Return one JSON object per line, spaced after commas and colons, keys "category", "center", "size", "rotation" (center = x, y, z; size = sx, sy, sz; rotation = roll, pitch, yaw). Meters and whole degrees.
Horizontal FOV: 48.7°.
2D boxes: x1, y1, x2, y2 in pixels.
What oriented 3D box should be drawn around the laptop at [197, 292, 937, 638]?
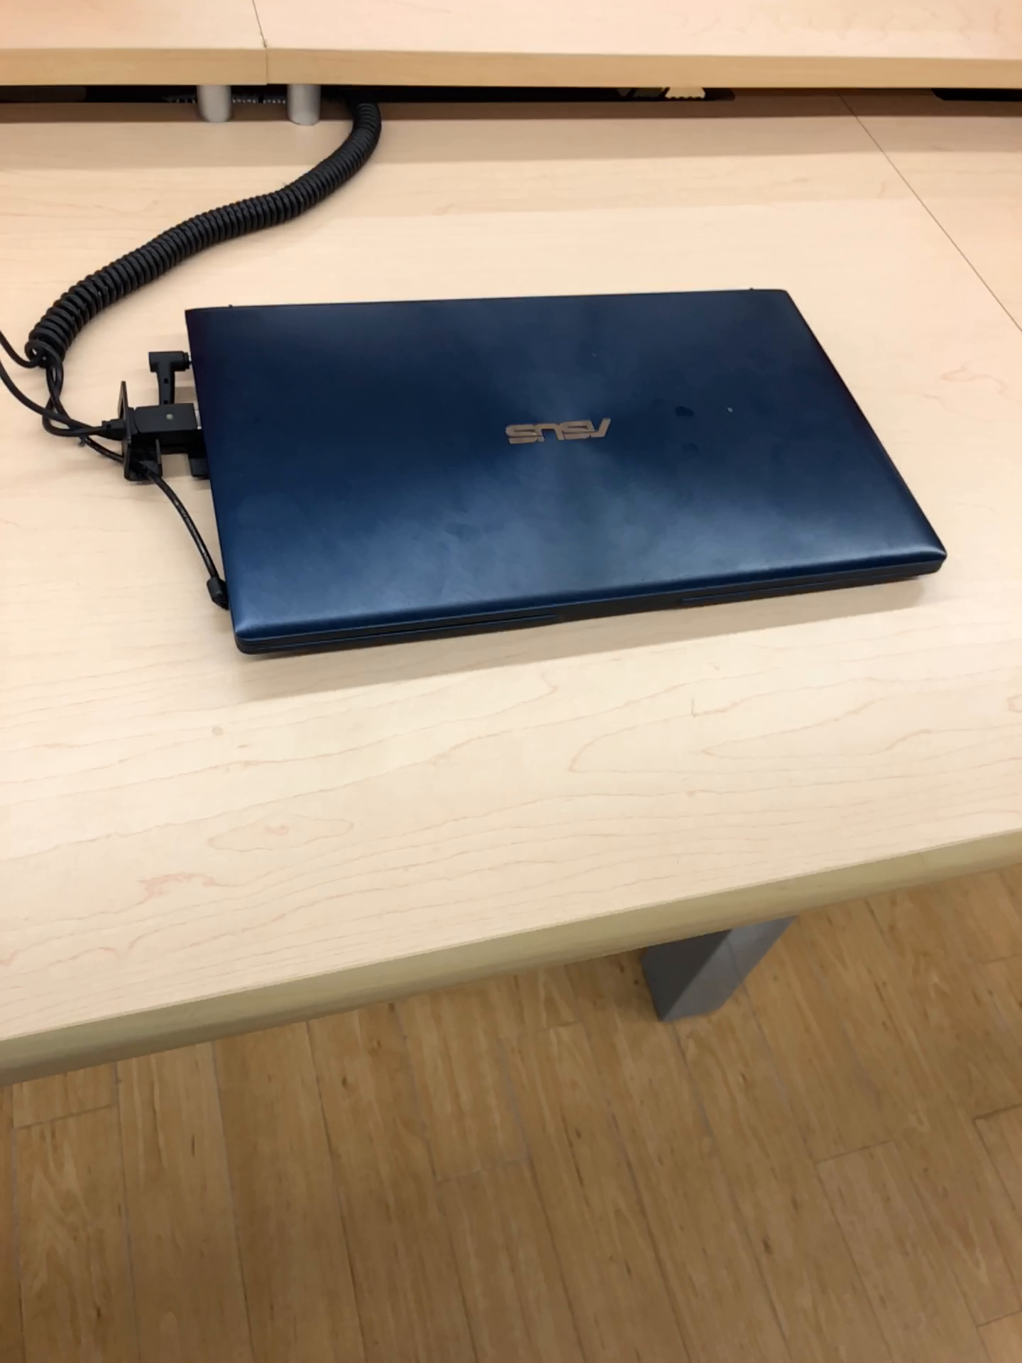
{"category": "laptop", "center": [0.022, -0.108, 0.496], "size": [0.295, 0.001, 0.178], "rotation": [-8, 57, -15]}
